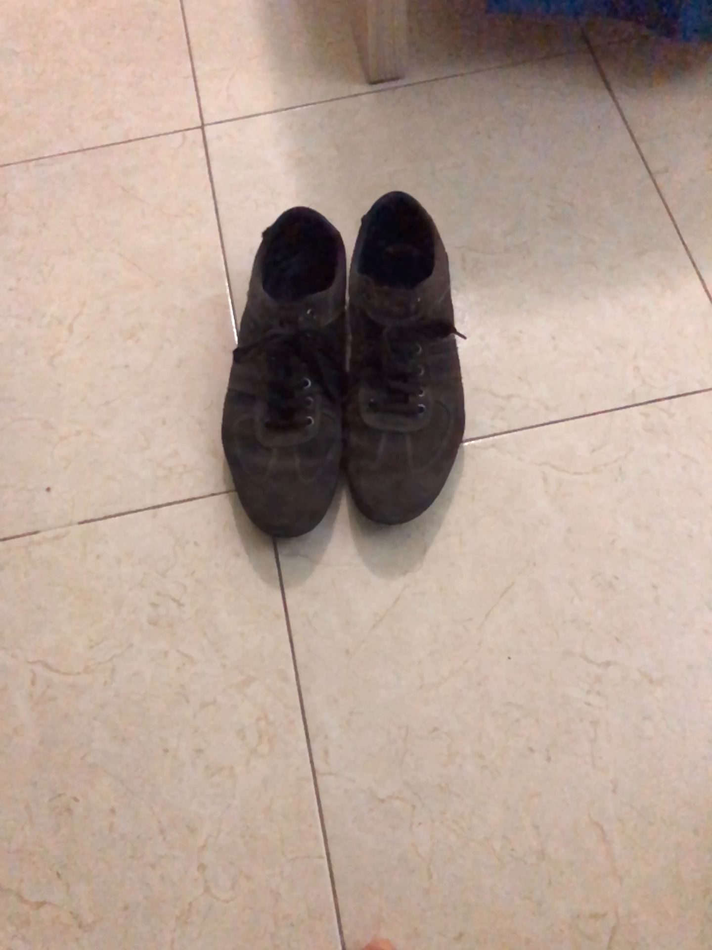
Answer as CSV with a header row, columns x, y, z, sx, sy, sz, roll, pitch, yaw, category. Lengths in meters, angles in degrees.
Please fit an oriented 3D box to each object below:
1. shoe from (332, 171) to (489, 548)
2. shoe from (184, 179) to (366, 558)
x,y,z,sx,sy,sz,roll,pitch,yaw,category
0.046,-0.099,0.664,0.110,0.110,0.300,0,66,4,shoe
-0.055,-0.091,0.663,0.120,0.110,0.300,-1,66,4,shoe
